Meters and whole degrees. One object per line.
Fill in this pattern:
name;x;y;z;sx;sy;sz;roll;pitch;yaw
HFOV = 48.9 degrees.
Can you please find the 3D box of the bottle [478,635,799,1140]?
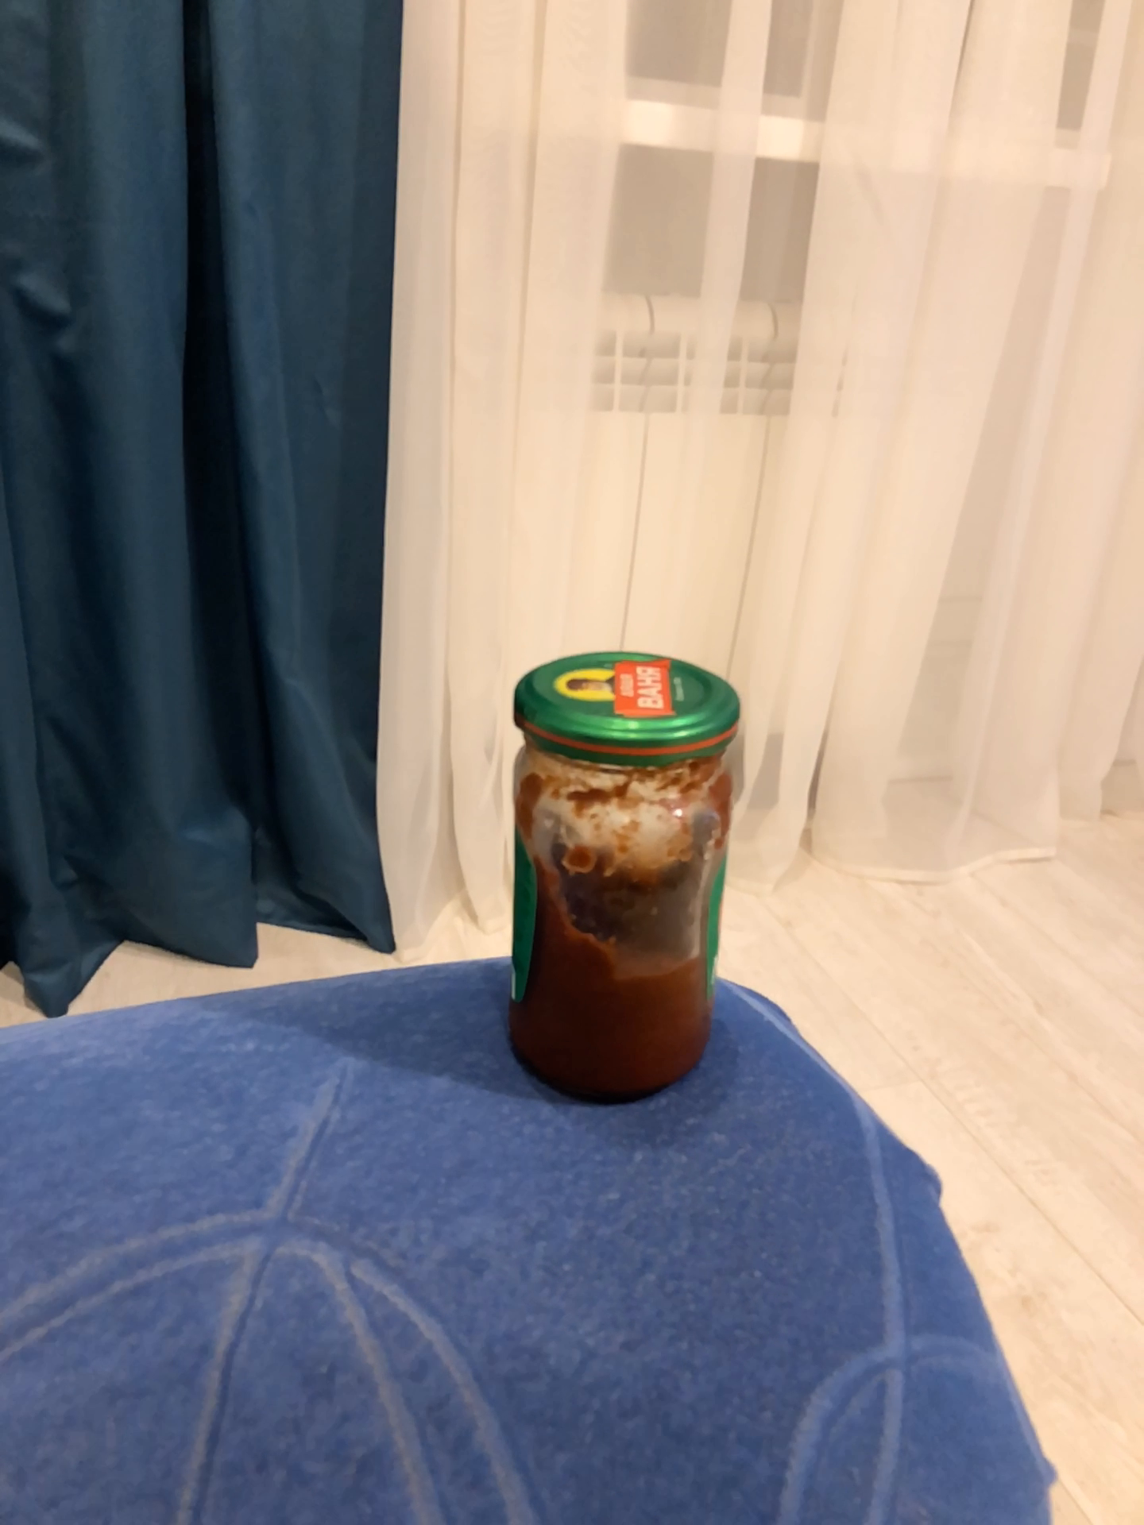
bottle;0.013;0.026;0.281;0.060;0.092;0.060;1;24;-1
